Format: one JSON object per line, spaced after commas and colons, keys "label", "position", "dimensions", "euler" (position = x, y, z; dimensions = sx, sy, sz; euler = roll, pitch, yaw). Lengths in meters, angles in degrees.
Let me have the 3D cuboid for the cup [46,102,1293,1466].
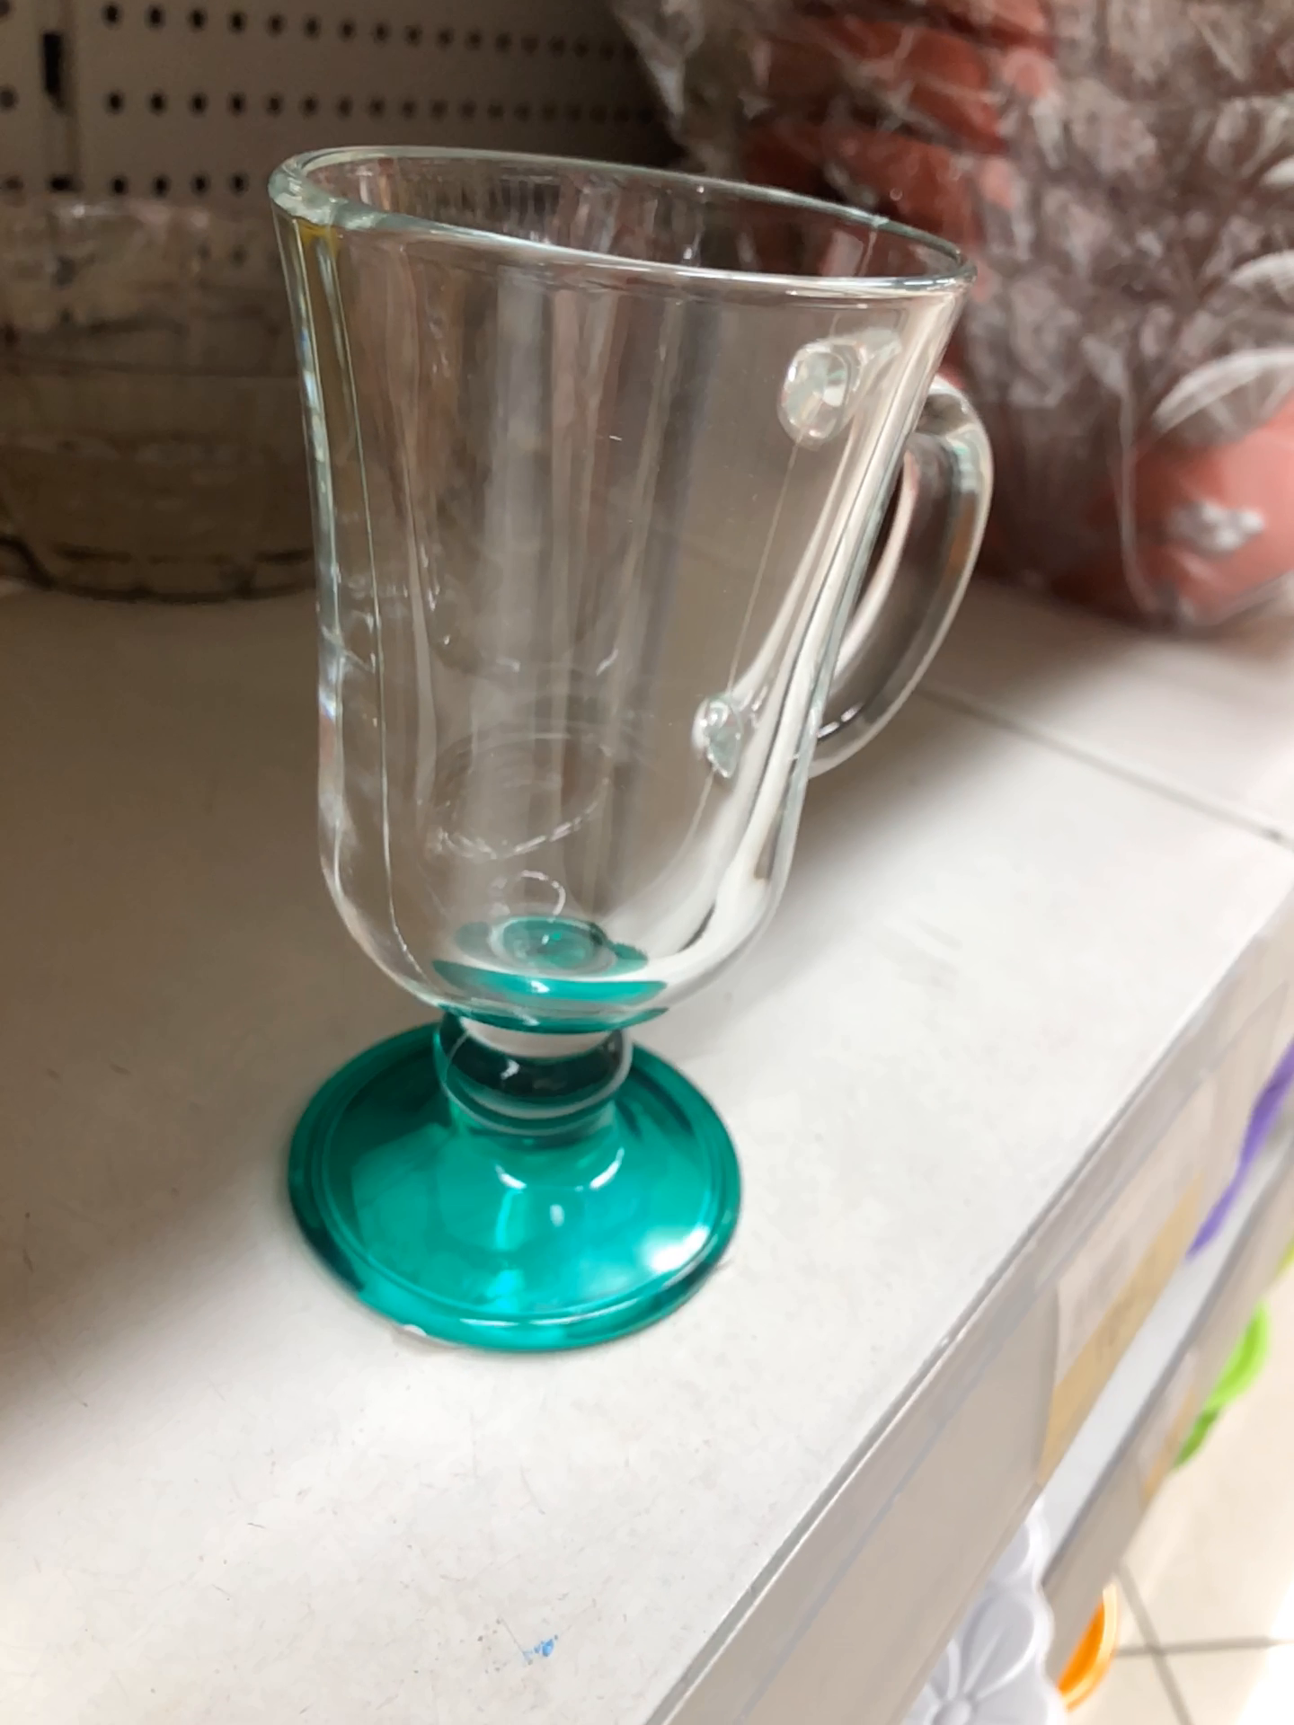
{"label": "cup", "position": [0.003, -0.021, 0.182], "dimensions": [0.108, 0.118, 0.086], "euler": [-22, 43, -37]}
